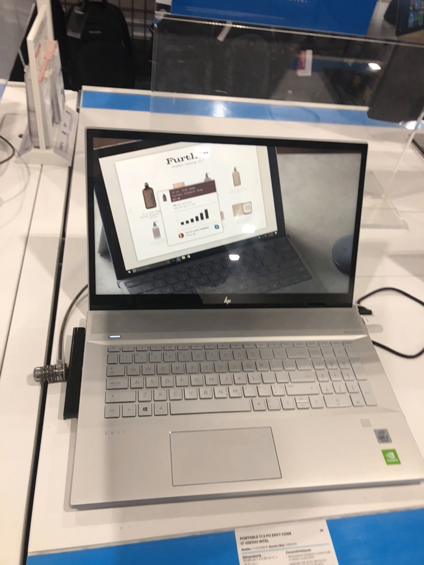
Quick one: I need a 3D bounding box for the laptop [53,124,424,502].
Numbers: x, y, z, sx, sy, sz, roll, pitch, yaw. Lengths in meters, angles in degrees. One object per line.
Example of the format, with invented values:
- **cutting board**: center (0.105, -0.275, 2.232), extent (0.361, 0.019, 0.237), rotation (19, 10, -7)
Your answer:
- **laptop**: center (0.041, 0.008, 0.573), extent (0.390, 0.199, 0.399), rotation (0, 44, -11)
